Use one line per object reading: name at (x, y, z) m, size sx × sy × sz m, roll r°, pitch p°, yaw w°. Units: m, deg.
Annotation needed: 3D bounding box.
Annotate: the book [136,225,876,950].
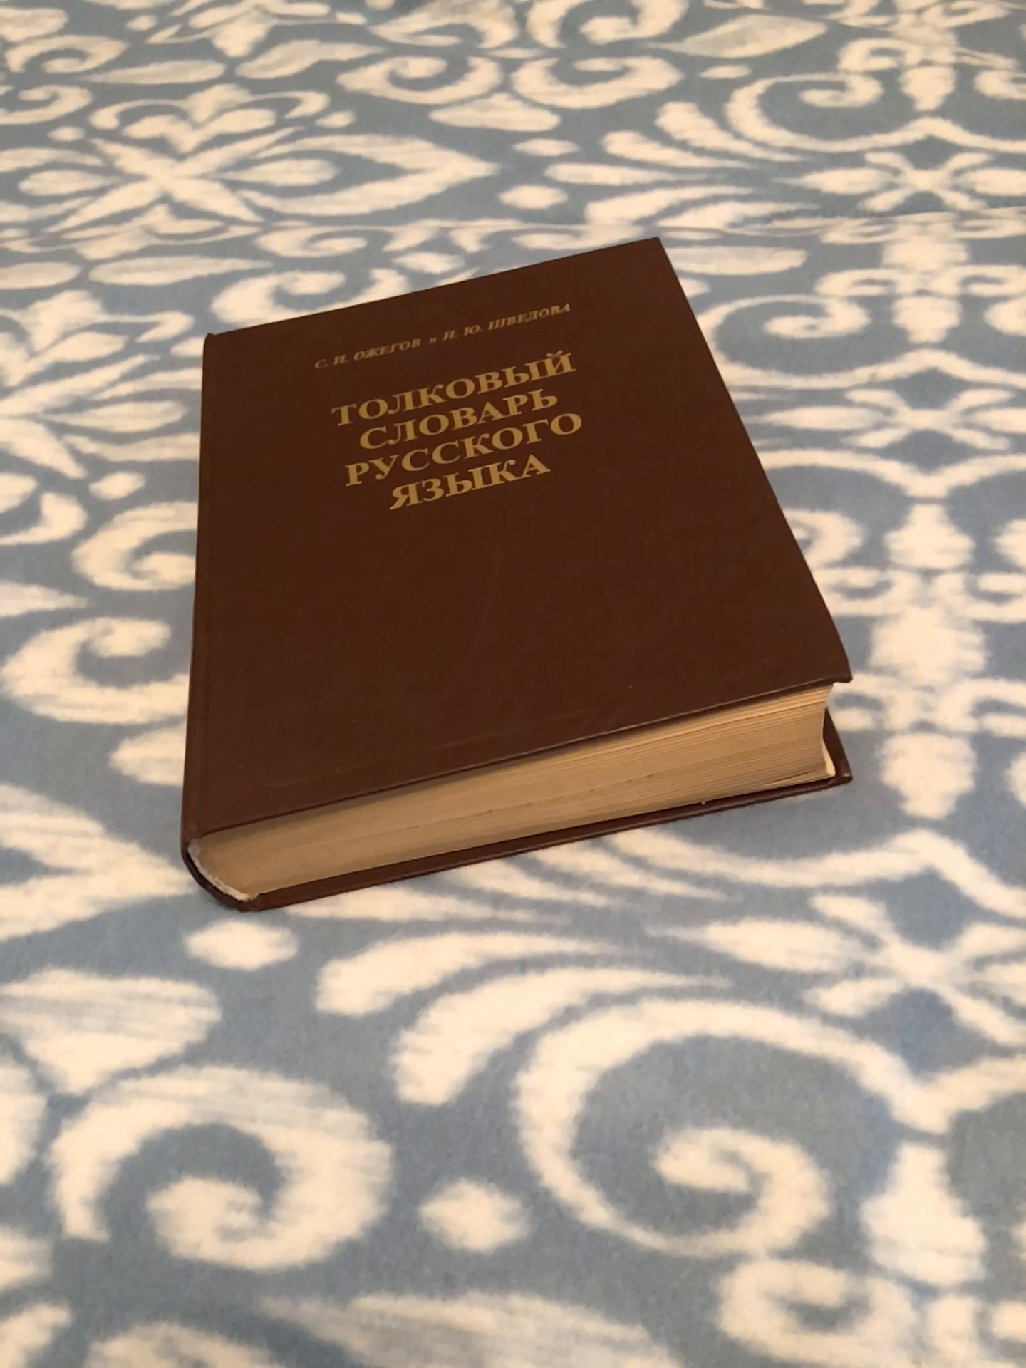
book at (-0.016, -0.056, 0.442) m, size 0.220 × 0.067 × 0.271 m, roll -12°, pitch 51°, yaw 2°
